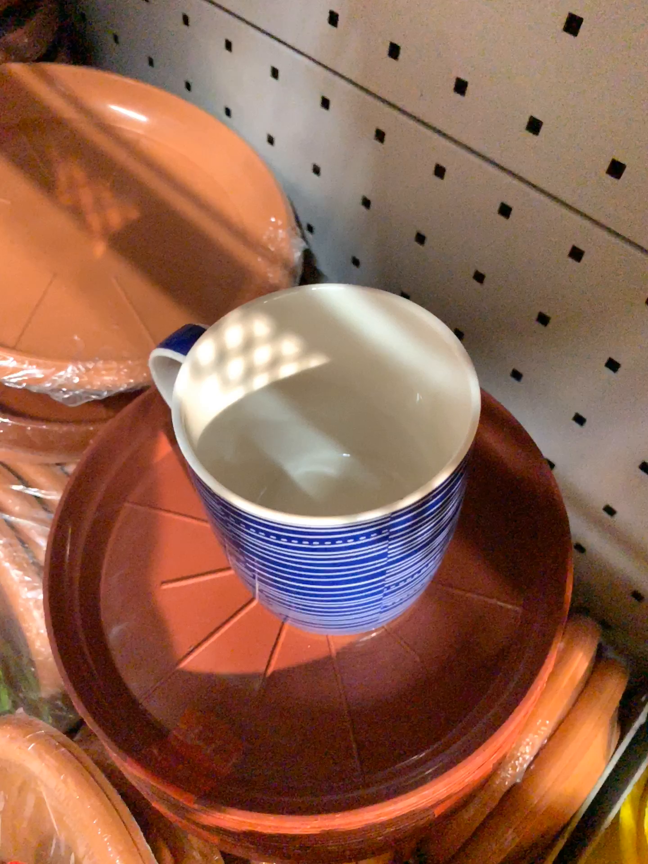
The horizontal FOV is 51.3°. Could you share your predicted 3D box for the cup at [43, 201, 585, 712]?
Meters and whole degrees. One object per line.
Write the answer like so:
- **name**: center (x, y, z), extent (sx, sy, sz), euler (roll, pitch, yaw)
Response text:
- **cup**: center (-0.001, 0.006, 0.242), extent (0.130, 0.100, 0.100), euler (26, 56, 19)
